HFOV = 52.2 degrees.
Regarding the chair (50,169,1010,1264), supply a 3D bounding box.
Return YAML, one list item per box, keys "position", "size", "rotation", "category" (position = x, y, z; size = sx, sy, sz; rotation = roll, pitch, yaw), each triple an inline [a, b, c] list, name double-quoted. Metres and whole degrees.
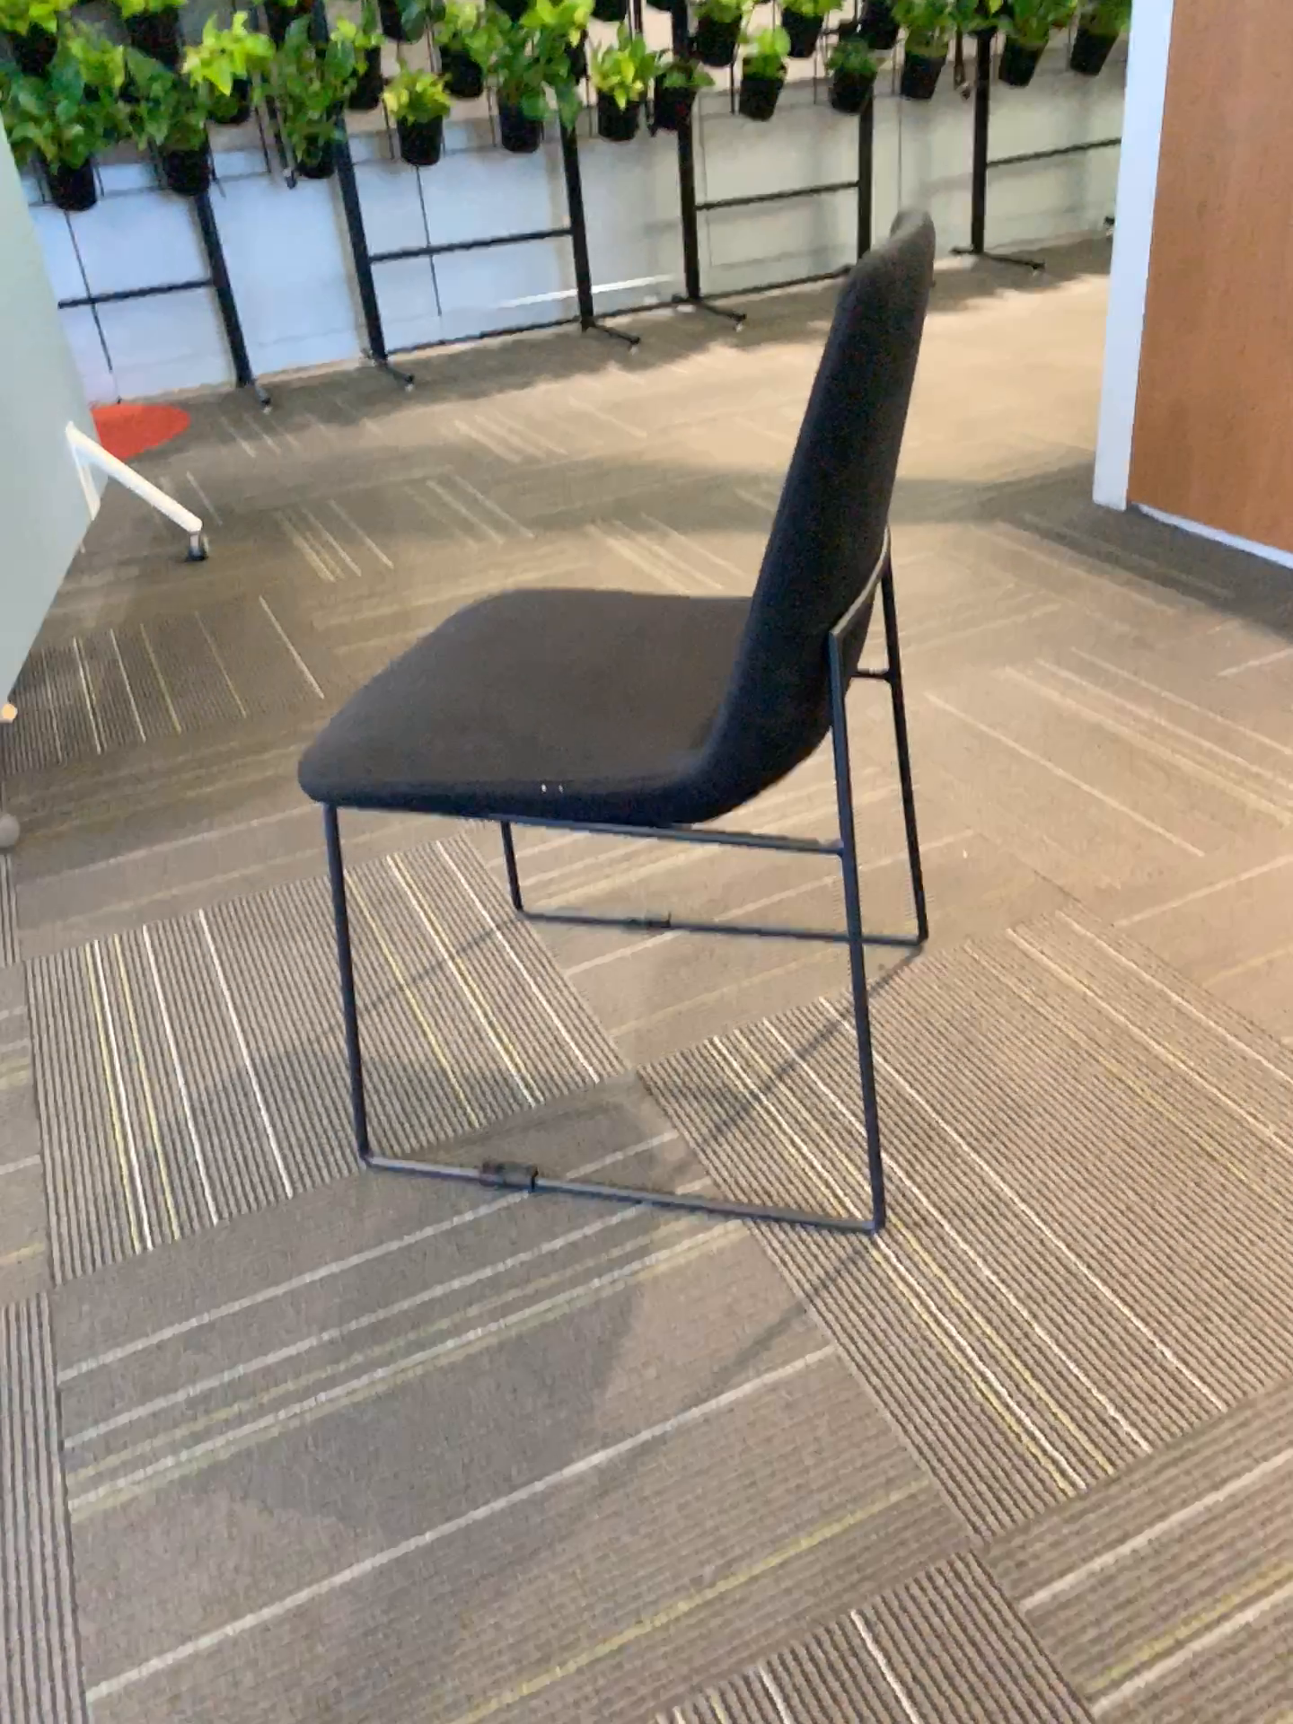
- position: [-0.008, -0.140, 1.154]
  size: [0.571, 0.745, 0.492]
  rotation: [4, 33, 16]
  category: "chair"
